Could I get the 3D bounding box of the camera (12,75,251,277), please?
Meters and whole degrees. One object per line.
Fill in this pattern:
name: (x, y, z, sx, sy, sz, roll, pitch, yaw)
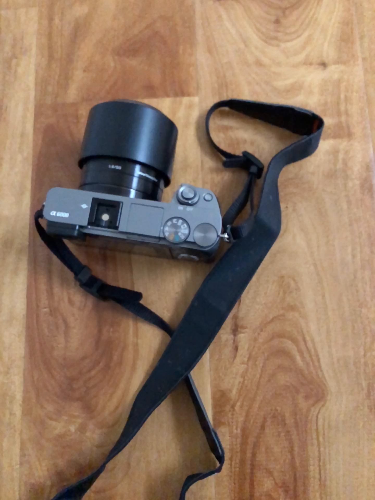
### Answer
camera: (-0.034, -0.050, 0.314, 0.140, 0.080, 0.110, 8, 79, 4)
